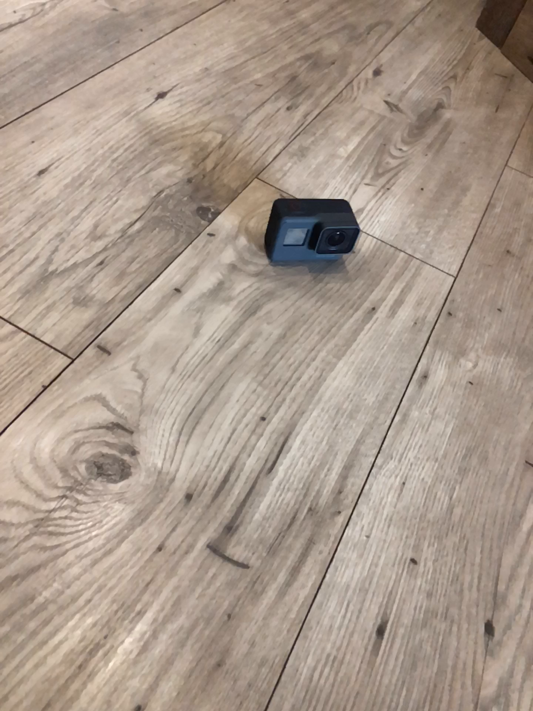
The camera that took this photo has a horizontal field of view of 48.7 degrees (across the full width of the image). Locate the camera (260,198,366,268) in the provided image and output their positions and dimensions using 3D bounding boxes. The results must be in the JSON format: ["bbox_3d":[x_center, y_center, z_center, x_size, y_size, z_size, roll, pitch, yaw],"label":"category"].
[{"bbox_3d":[0.034,-0.093,0.444,0.065,0.040,0.032,-5,55,-18],"label":"camera"}]
